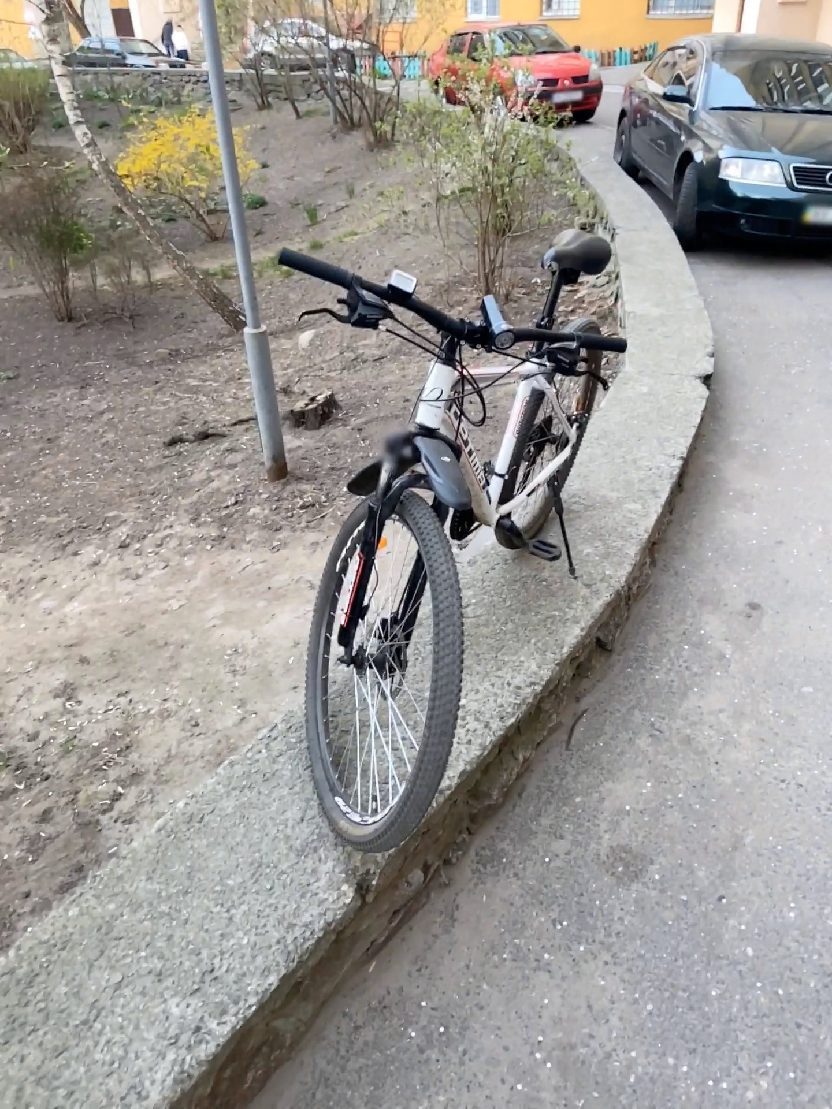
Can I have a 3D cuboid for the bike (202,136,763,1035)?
[{"bbox_3d":[0.330,-0.181,2.010,0.678,1.143,1.762,10,37,18],"label":"bike"}]
